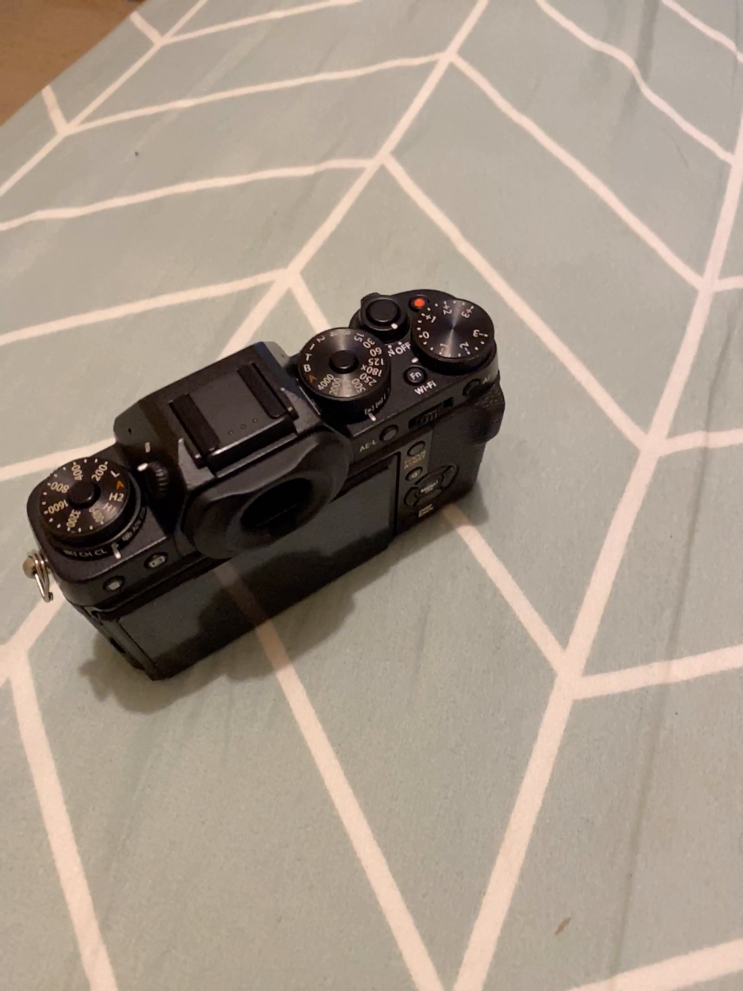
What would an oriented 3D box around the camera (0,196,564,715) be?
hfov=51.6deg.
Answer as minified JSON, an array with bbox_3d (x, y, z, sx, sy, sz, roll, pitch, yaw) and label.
[{"bbox_3d":[-0.026,-0.009,0.219,0.142,0.082,0.054,-30,66,-15],"label":"camera"}]
